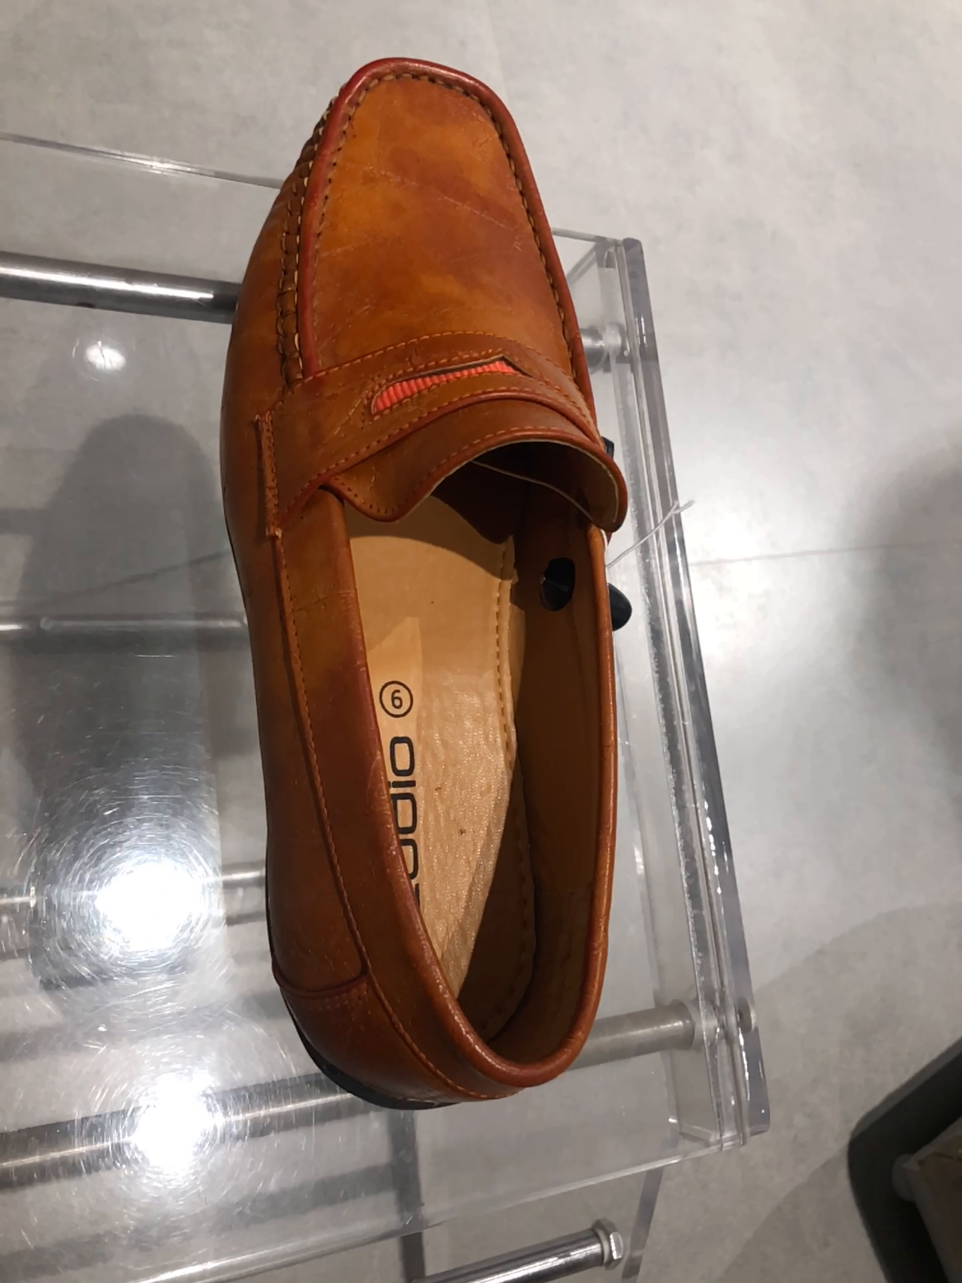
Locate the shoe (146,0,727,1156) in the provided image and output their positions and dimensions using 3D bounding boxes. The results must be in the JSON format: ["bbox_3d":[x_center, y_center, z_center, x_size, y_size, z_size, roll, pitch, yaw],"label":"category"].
[{"bbox_3d":[-0.024,-0.039,0.282,0.110,0.090,0.290,2,76,-24],"label":"shoe"}]
